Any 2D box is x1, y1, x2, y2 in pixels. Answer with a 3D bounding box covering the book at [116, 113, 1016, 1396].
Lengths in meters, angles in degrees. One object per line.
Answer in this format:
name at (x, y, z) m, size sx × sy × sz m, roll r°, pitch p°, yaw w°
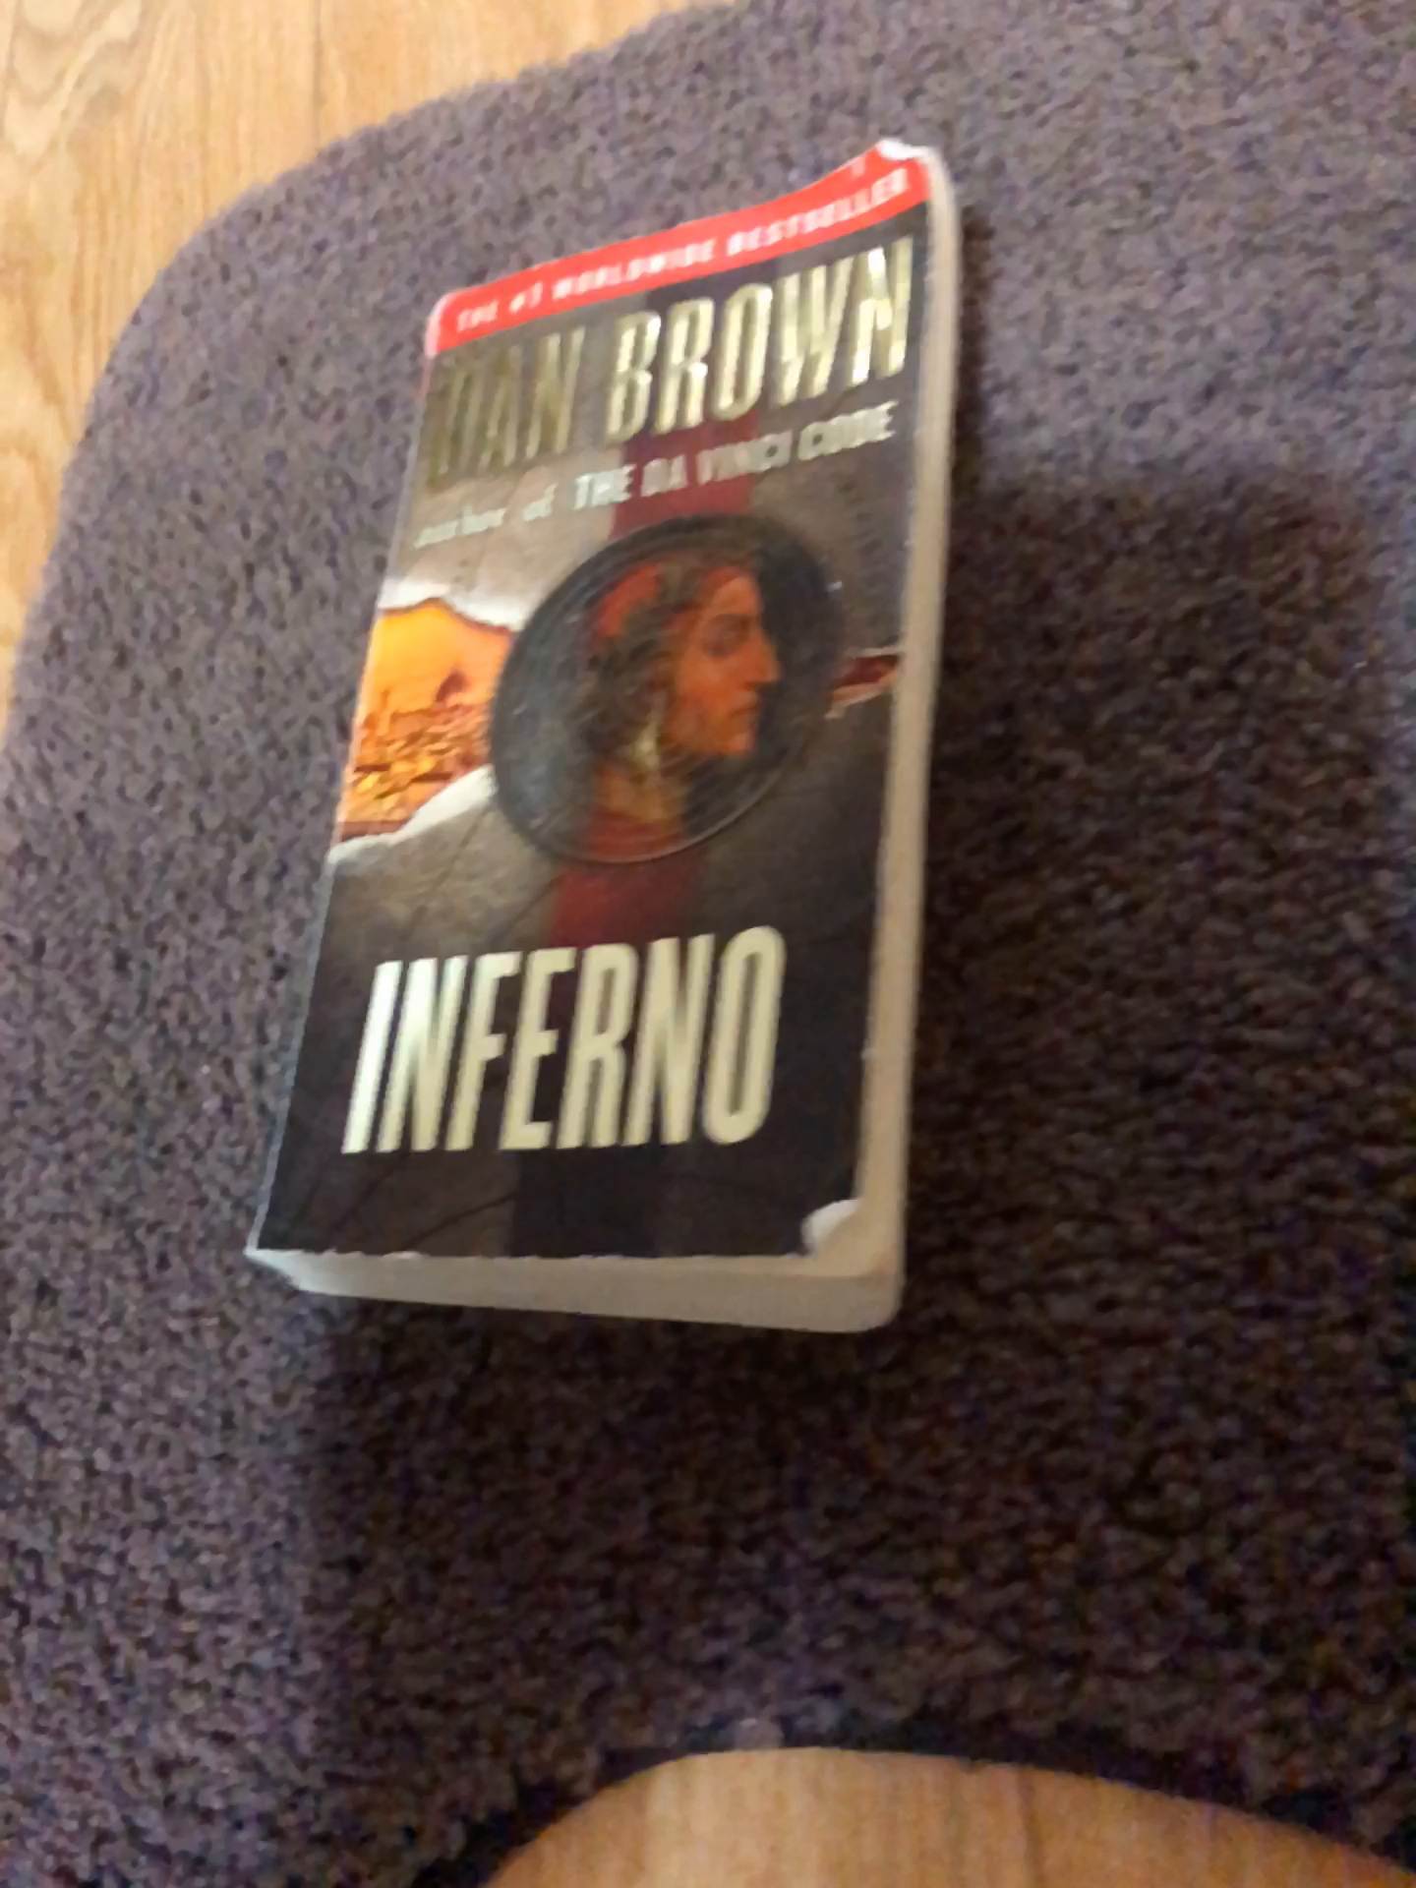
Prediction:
book at (-0.016, -0.032, 0.273) m, size 0.120 × 0.050 × 0.200 m, roll -3°, pitch 68°, yaw 24°
